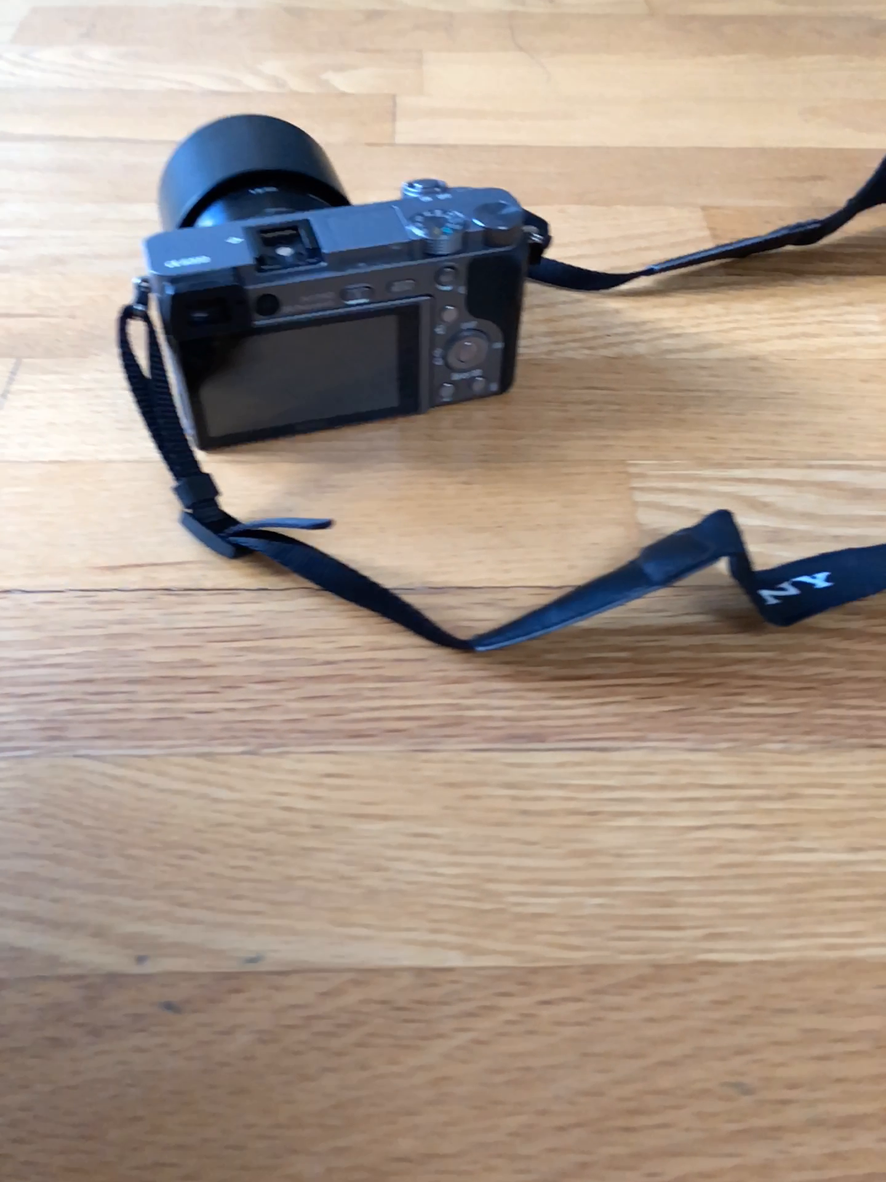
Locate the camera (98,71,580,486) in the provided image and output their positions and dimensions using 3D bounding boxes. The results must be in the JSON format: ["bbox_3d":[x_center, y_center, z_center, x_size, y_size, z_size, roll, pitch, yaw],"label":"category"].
[{"bbox_3d":[-0.040,-0.116,0.351,0.136,0.079,0.107,-13,52,-13],"label":"camera"}]
